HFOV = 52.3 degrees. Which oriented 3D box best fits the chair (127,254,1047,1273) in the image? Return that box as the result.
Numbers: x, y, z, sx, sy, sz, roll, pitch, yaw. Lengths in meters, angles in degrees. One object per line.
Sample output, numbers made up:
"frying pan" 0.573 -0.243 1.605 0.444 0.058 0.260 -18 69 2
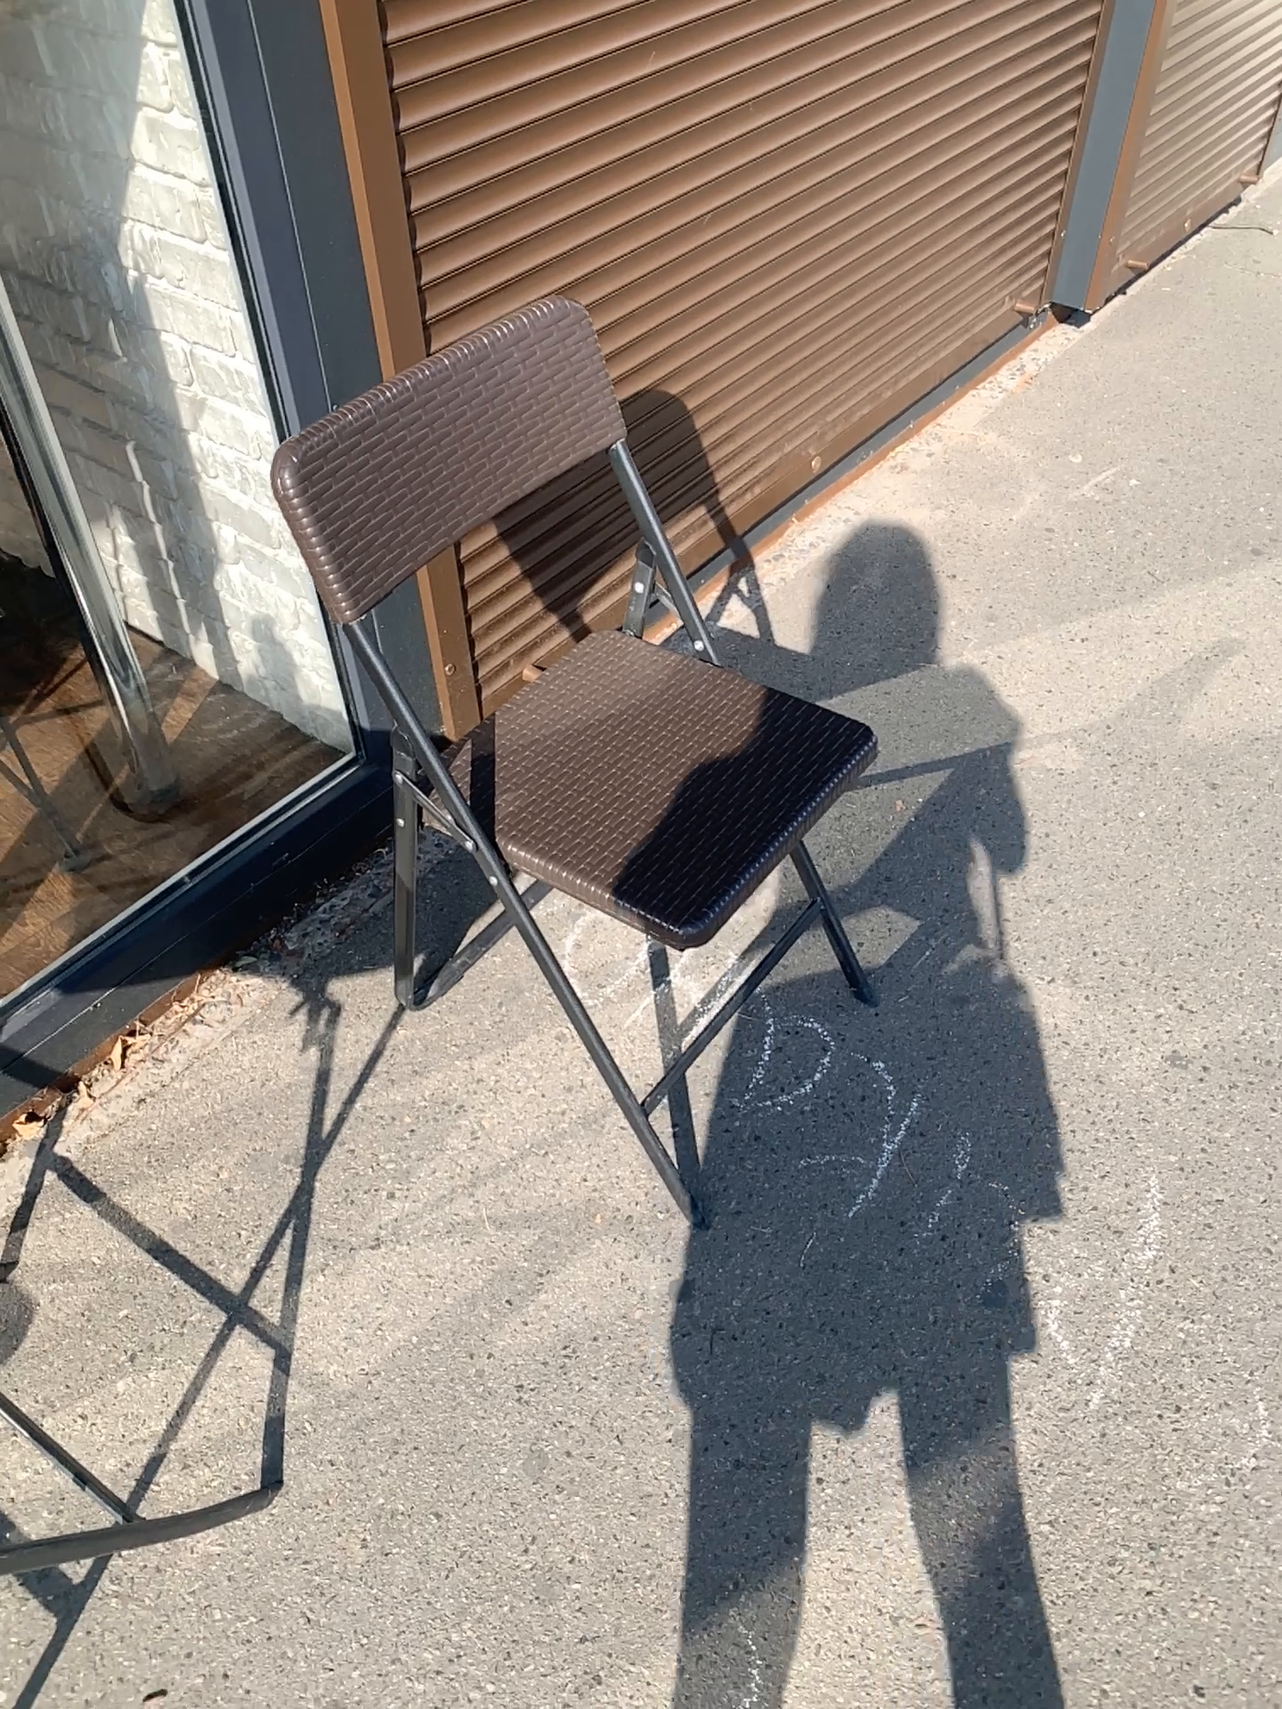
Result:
"chair" -0.038 -0.094 1.371 0.611 0.767 0.481 27 52 26
